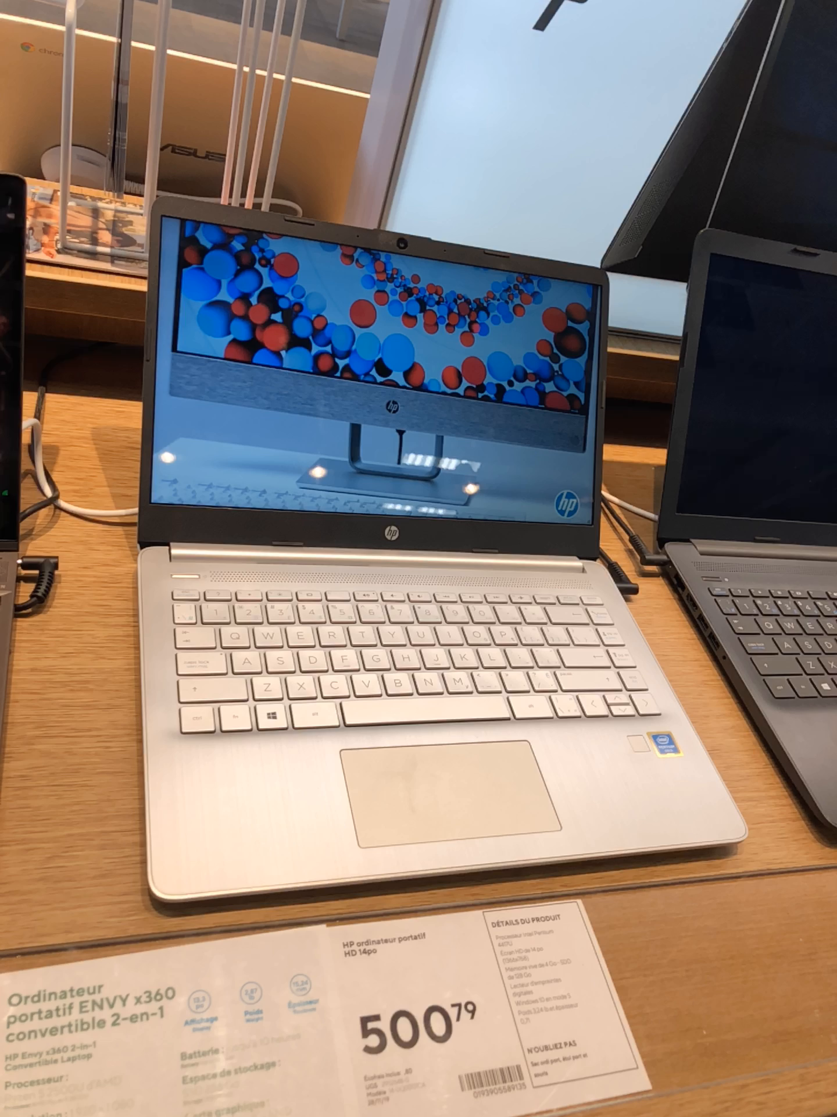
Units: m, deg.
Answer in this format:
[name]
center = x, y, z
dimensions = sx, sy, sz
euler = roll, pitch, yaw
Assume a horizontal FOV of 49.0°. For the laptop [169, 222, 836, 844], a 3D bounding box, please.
[laptop]
center = 0.019, -0.037, 0.559
dimensions = 0.308, 0.167, 0.347
euler = 1, 41, -18
